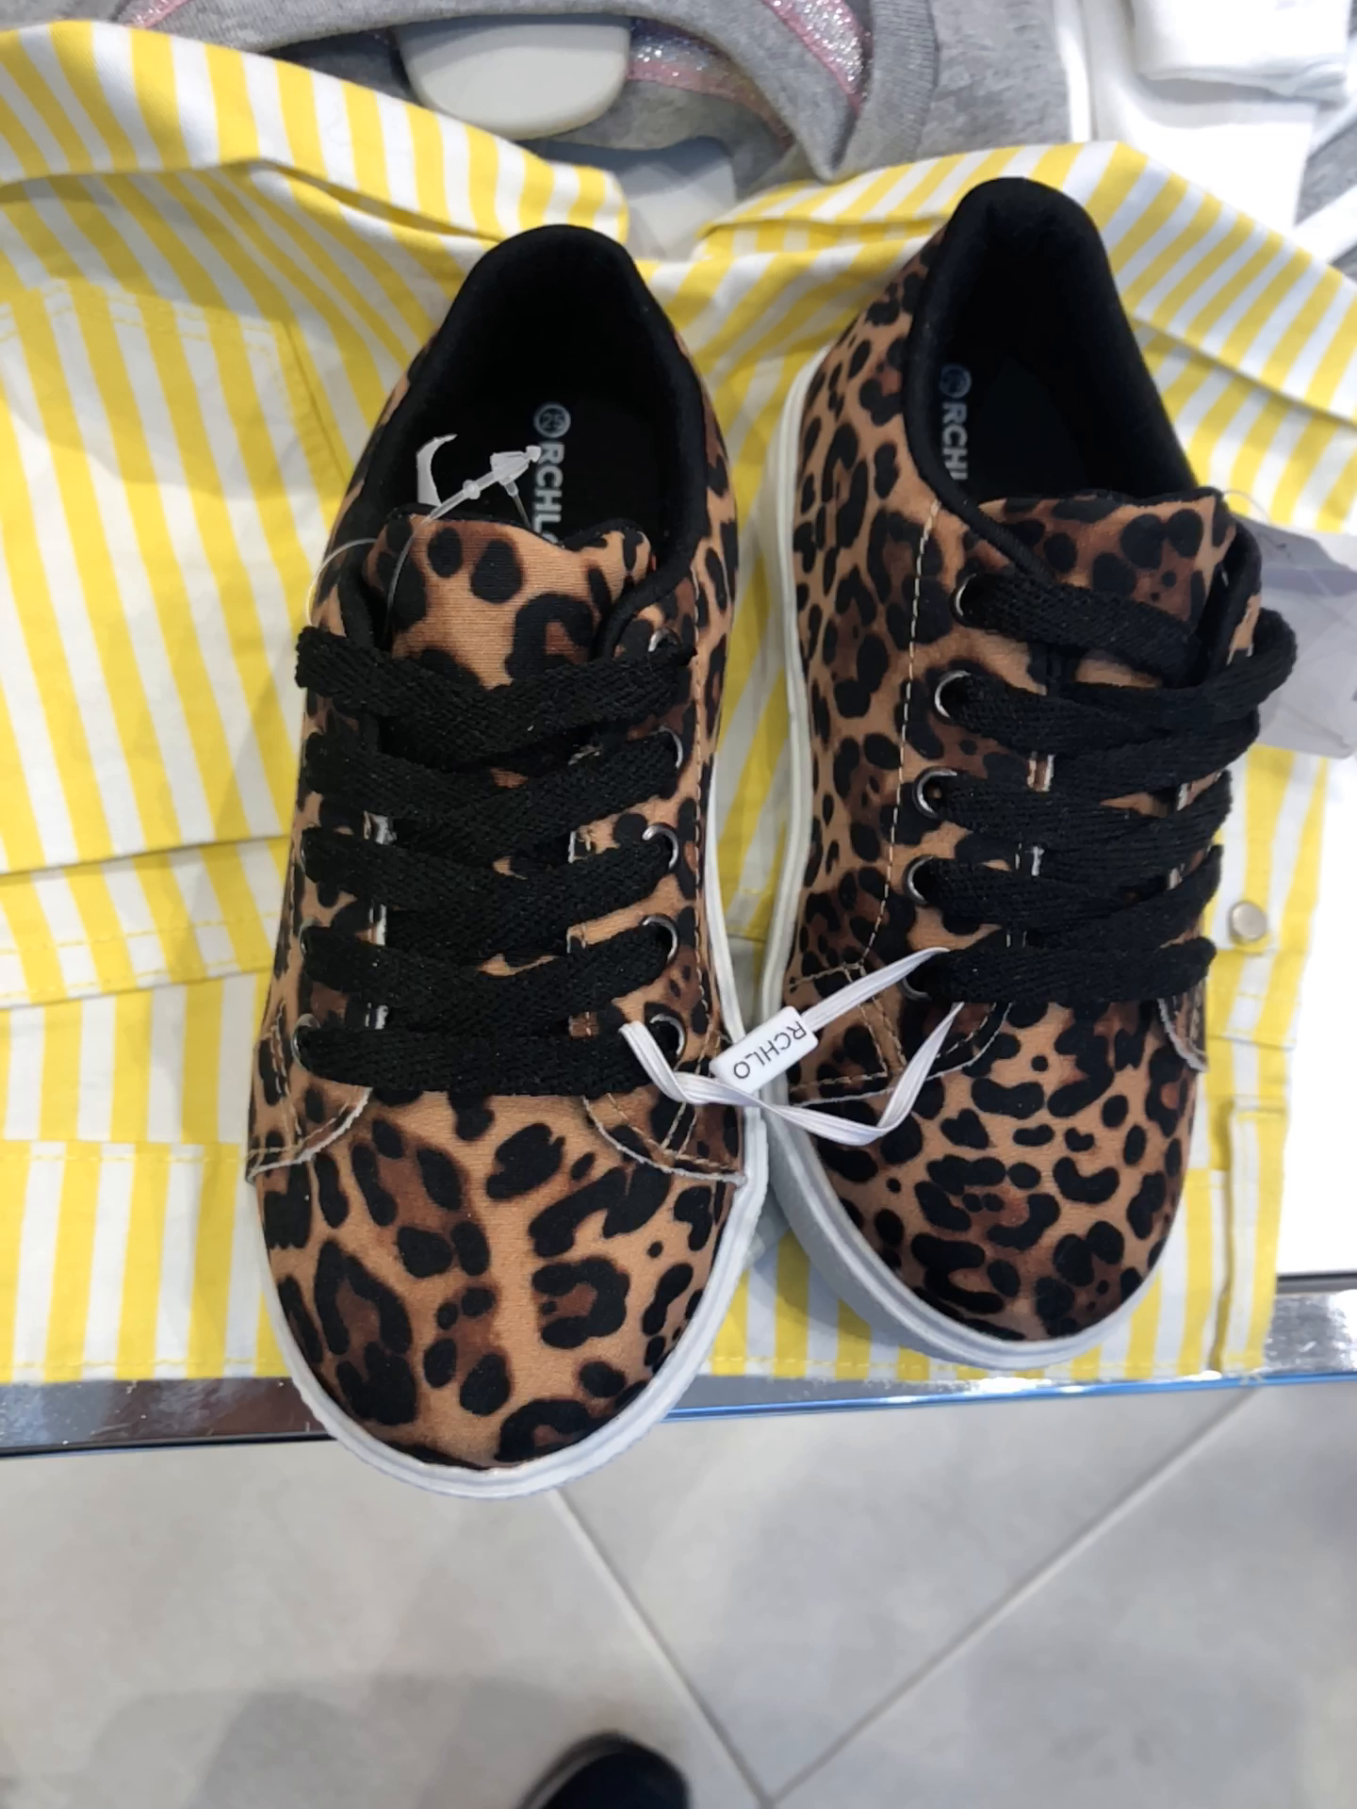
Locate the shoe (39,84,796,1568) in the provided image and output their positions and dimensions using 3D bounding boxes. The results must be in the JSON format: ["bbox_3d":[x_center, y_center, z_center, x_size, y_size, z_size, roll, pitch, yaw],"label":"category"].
[{"bbox_3d":[-0.029,-0.010,0.211,0.080,0.060,0.170,-1,83,14],"label":"shoe"}]

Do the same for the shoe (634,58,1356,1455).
[{"bbox_3d":[0.044,-0.016,0.229,0.080,0.080,0.170,4,83,-13],"label":"shoe"}]
